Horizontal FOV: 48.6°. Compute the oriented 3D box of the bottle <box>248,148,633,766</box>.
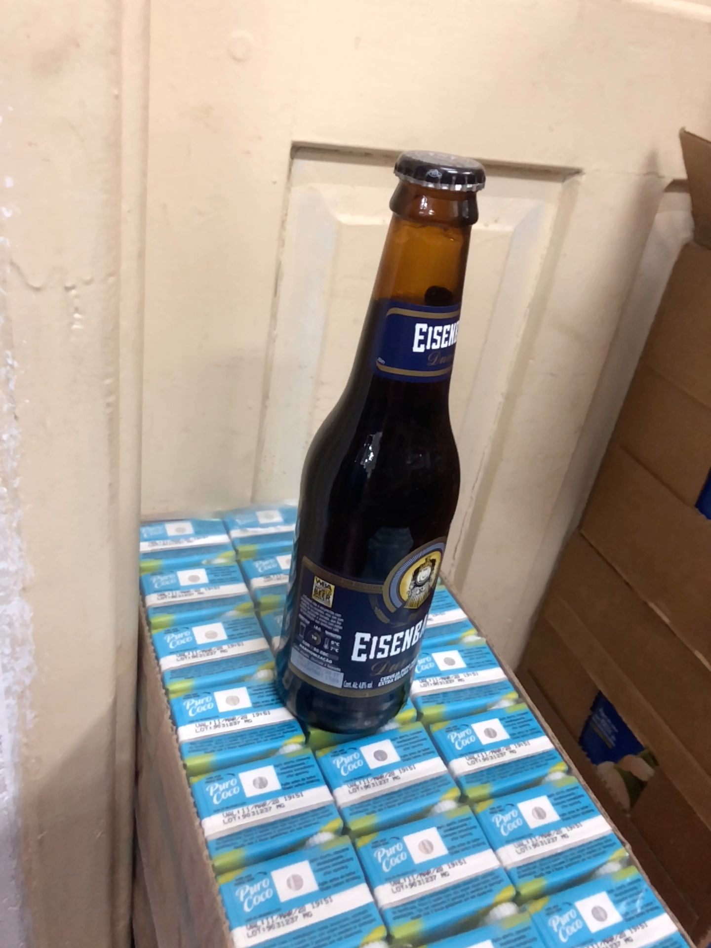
[{"bbox_3d":[0.018,-0.001,0.273,0.070,0.198,0.060,-19,43,-39],"label":"bottle"}]
